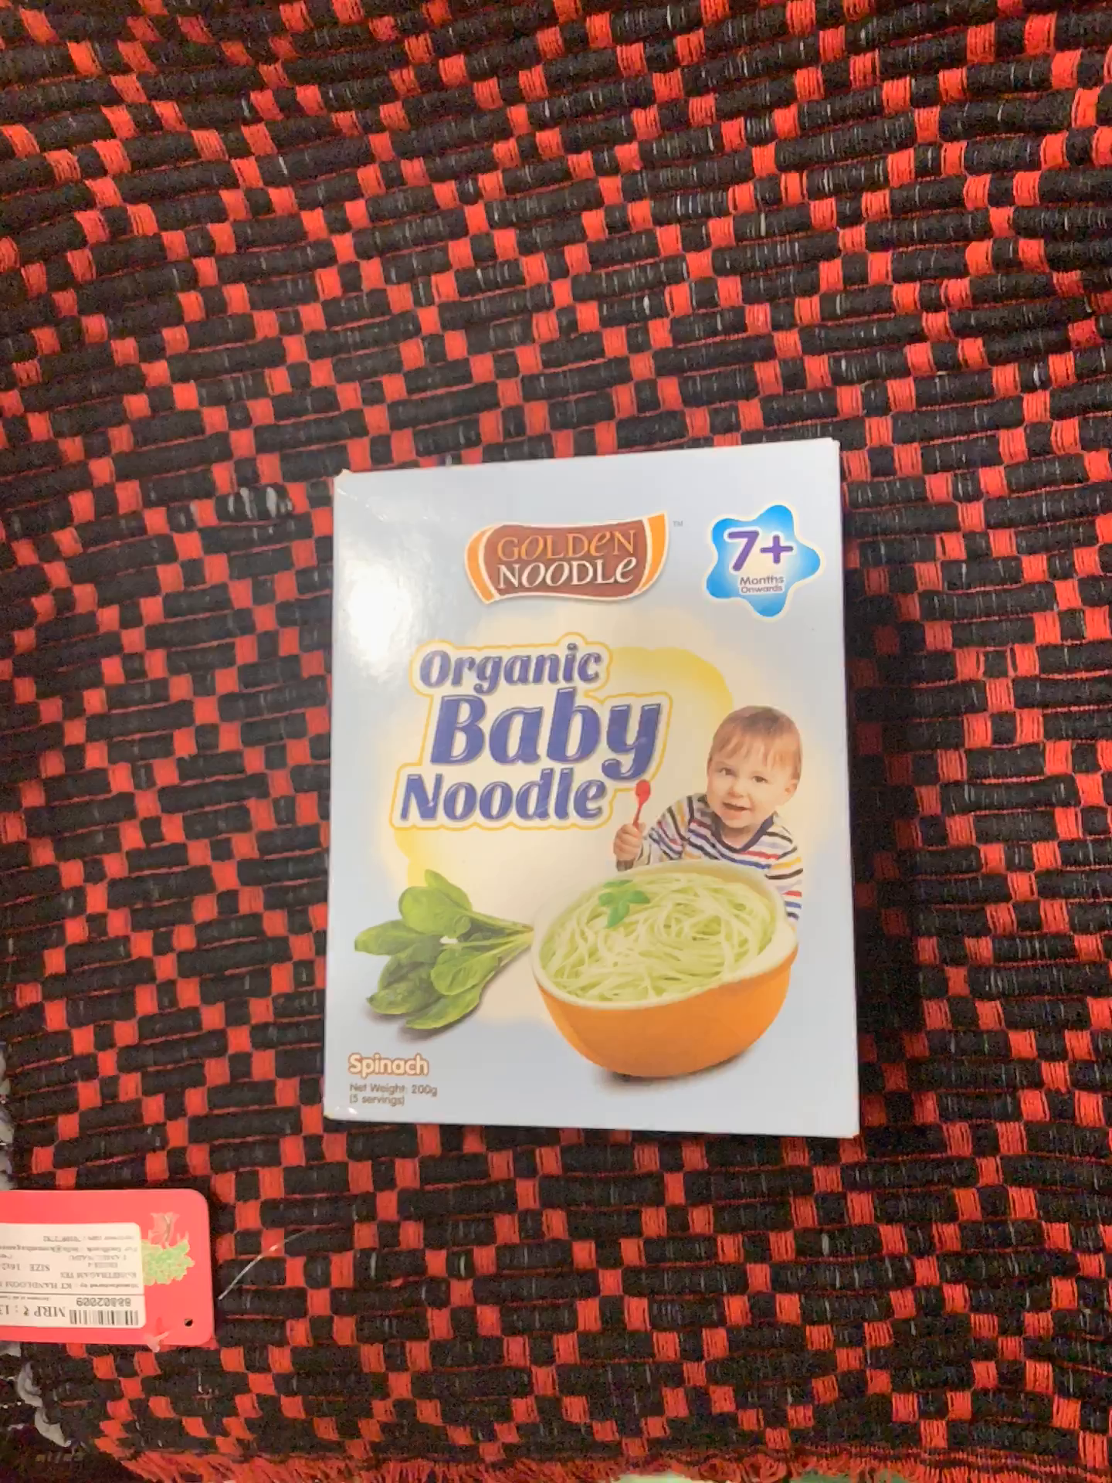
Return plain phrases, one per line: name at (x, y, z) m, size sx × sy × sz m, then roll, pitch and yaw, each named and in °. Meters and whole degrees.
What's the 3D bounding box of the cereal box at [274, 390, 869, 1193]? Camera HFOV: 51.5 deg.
cereal box at (0.003, 0.012, 0.280) m, size 0.130 × 0.050 × 0.170 m, roll -2°, pitch 85°, yaw 10°
